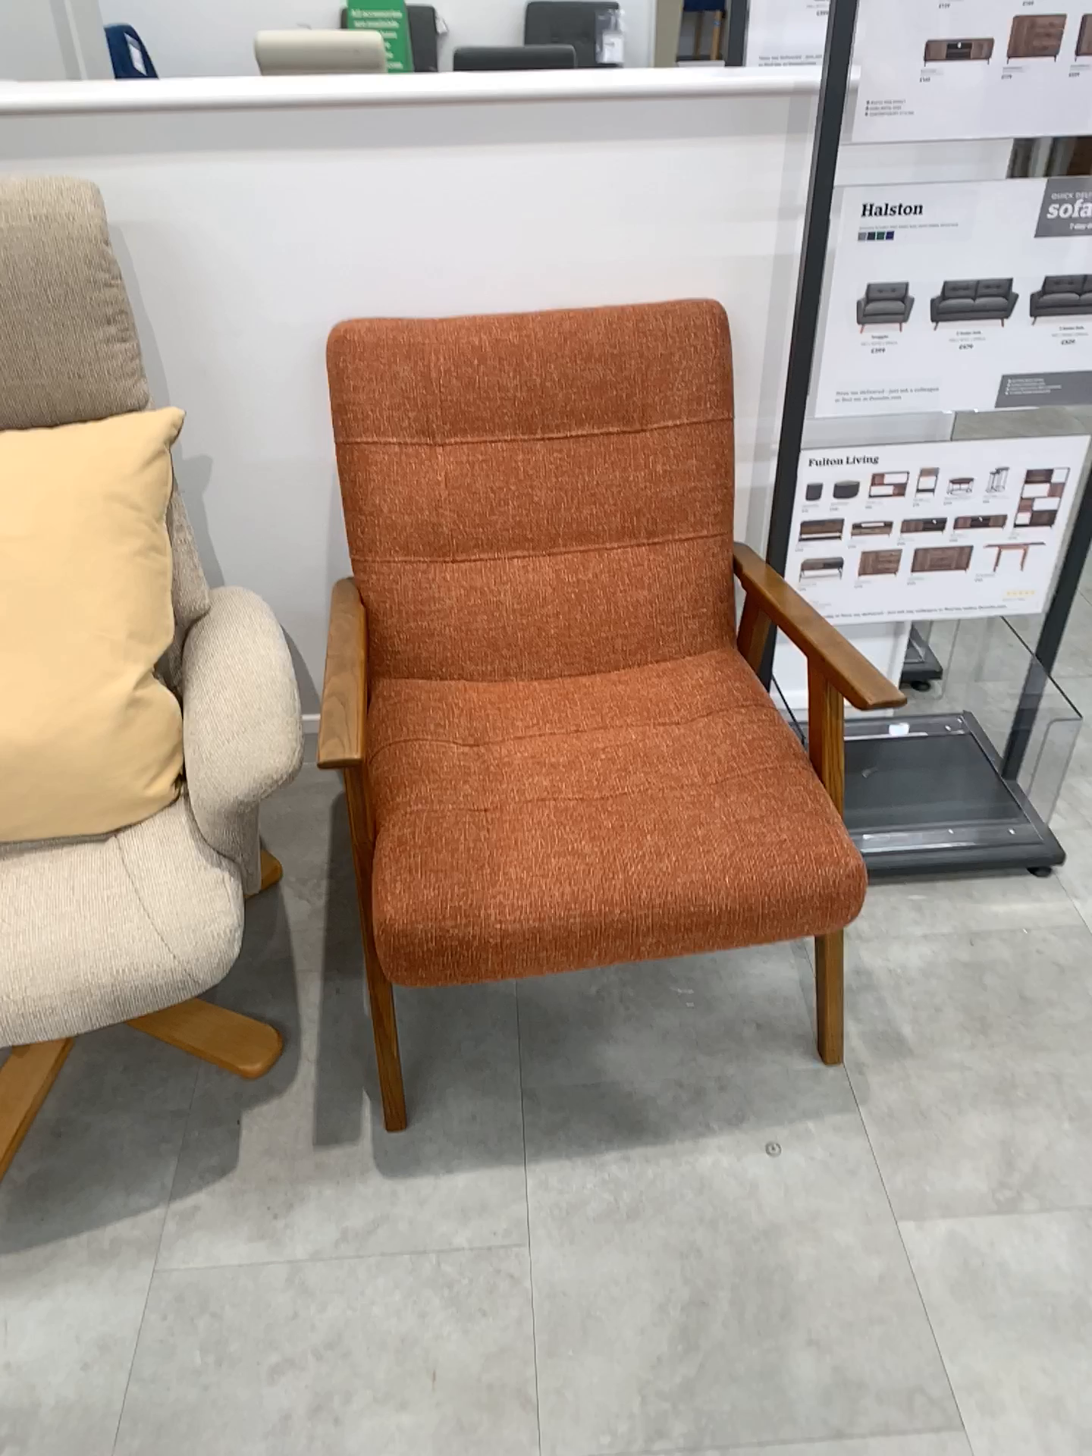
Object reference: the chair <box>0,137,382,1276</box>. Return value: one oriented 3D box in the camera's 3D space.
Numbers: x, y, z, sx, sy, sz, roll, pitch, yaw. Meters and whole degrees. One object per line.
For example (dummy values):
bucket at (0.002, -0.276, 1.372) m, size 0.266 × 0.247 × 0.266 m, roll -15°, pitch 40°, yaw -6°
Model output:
chair at (-0.659, -0.051, 1.309) m, size 0.698 × 1.013 × 0.685 m, roll -12°, pitch 38°, yaw -14°

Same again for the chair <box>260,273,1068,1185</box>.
chair at (0.067, -0.023, 1.463) m, size 0.687 × 0.884 × 0.706 m, roll -6°, pitch 37°, yaw -6°
